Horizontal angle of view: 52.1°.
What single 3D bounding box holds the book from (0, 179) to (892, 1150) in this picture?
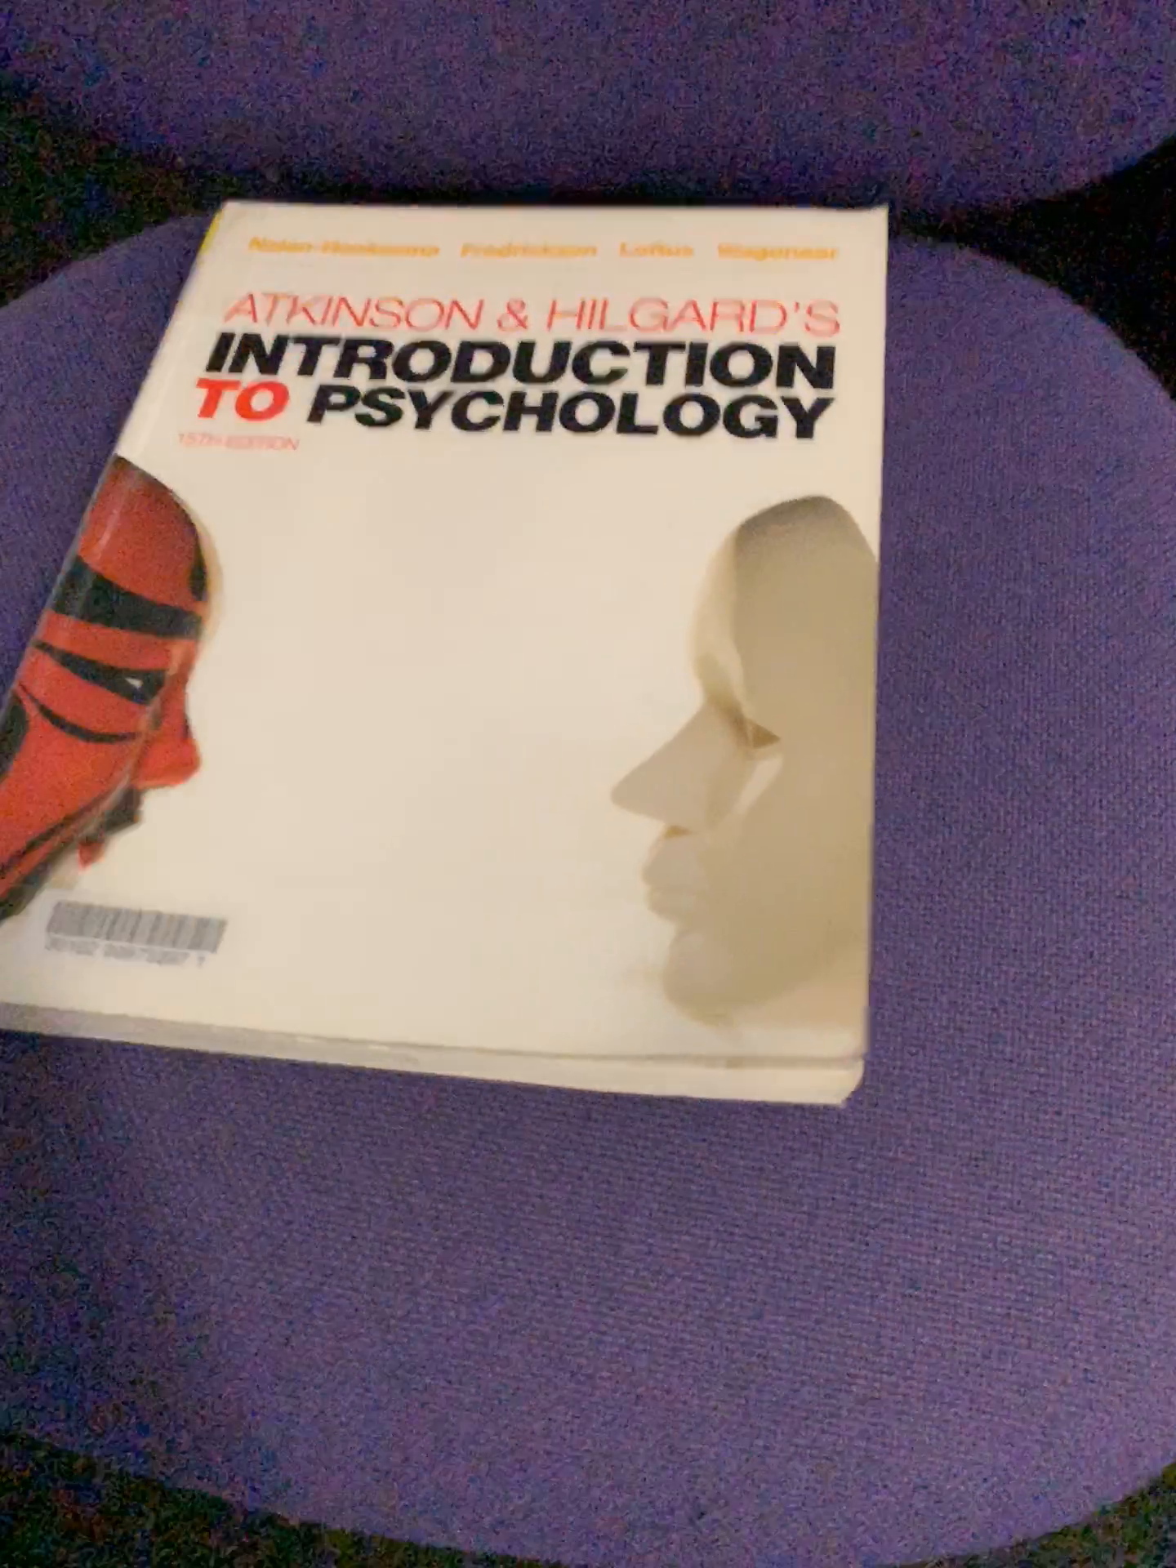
[{"bbox_3d":[-0.035,-0.062,0.326,0.222,0.035,0.284,5,59,8],"label":"book"}]
